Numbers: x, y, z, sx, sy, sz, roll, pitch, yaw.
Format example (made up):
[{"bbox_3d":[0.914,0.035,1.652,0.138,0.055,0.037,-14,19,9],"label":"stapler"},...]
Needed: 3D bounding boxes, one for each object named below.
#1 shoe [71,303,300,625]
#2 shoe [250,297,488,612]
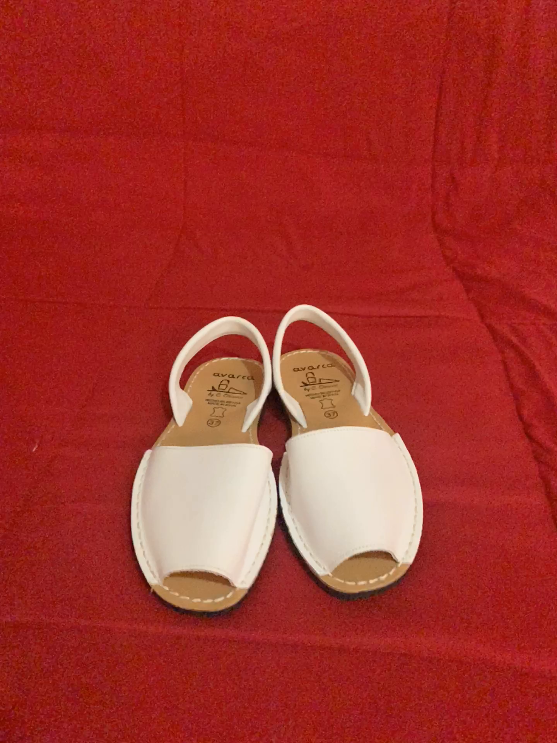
[{"bbox_3d":[-0.045,0.043,0.412,0.108,0.063,0.249,3,37,3],"label":"shoe"},{"bbox_3d":[0.044,0.038,0.423,0.103,0.063,0.250,-5,37,-7],"label":"shoe"}]
